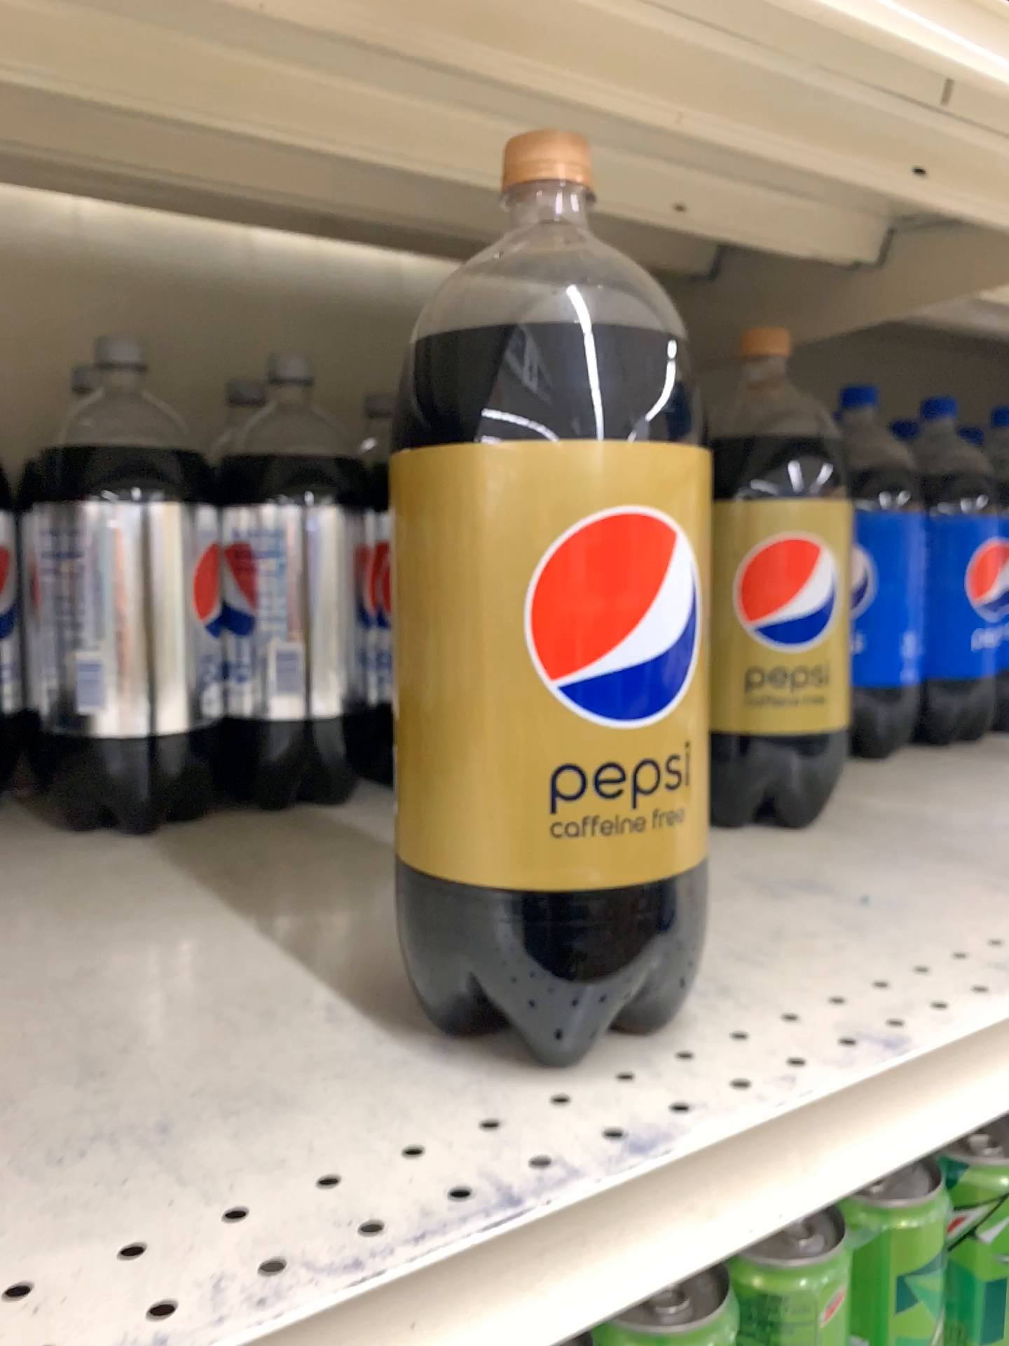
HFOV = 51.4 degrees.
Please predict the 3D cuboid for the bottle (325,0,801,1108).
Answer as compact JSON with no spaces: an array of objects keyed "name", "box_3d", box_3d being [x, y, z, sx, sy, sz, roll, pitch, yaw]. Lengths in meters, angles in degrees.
[{"name":"bottle","box_3d":[0.013,-0.038,0.348,0.110,0.300,0.110,0,6,0]}]
